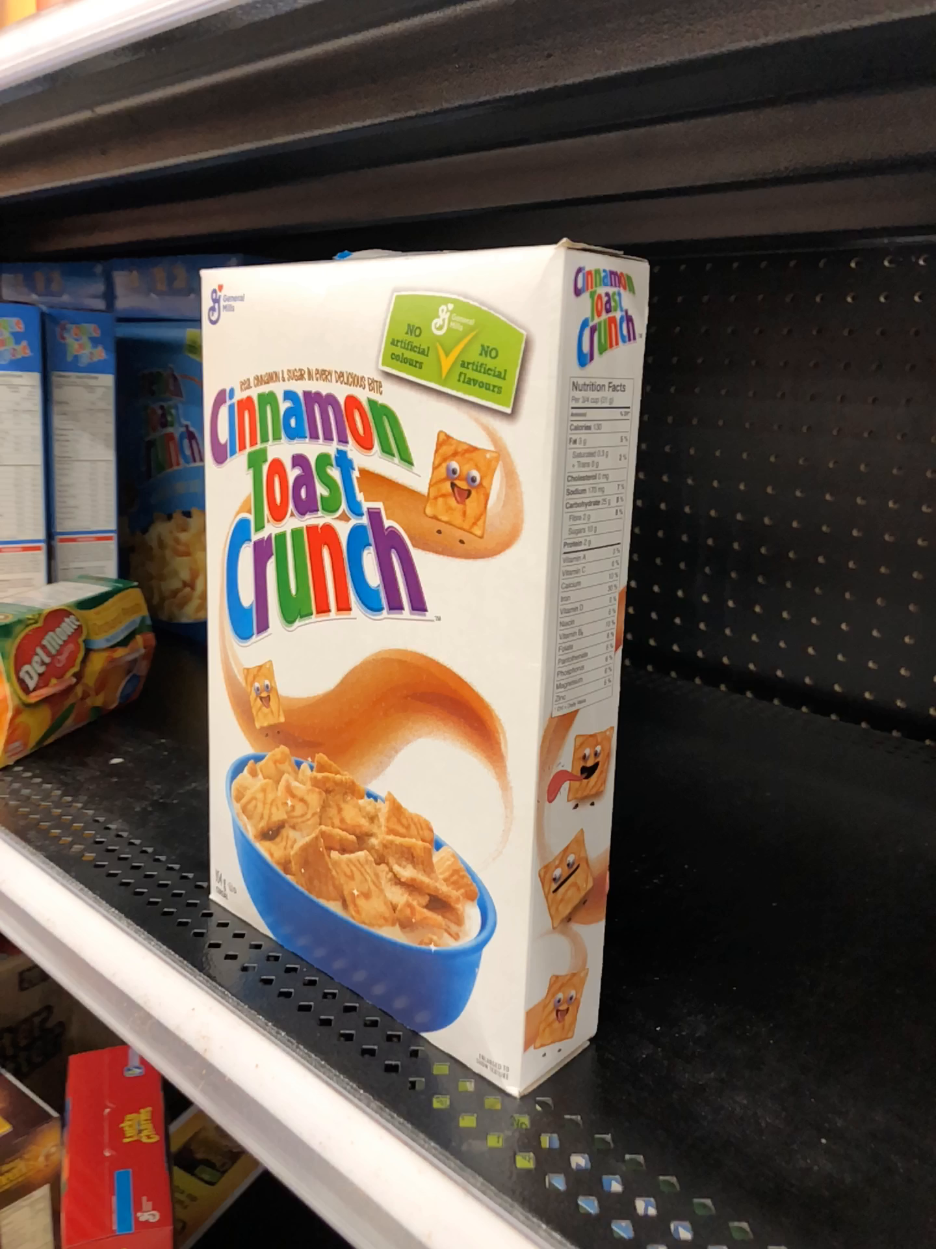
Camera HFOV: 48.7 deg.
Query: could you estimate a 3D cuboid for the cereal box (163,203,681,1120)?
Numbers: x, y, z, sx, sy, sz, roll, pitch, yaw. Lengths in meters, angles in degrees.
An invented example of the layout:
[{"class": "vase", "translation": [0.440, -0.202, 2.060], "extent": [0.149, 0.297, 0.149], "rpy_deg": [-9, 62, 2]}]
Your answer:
[{"class": "cereal box", "translation": [-0.034, 0.001, 0.393], "extent": [0.211, 0.279, 0.050], "rpy_deg": [14, 17, 42]}]
